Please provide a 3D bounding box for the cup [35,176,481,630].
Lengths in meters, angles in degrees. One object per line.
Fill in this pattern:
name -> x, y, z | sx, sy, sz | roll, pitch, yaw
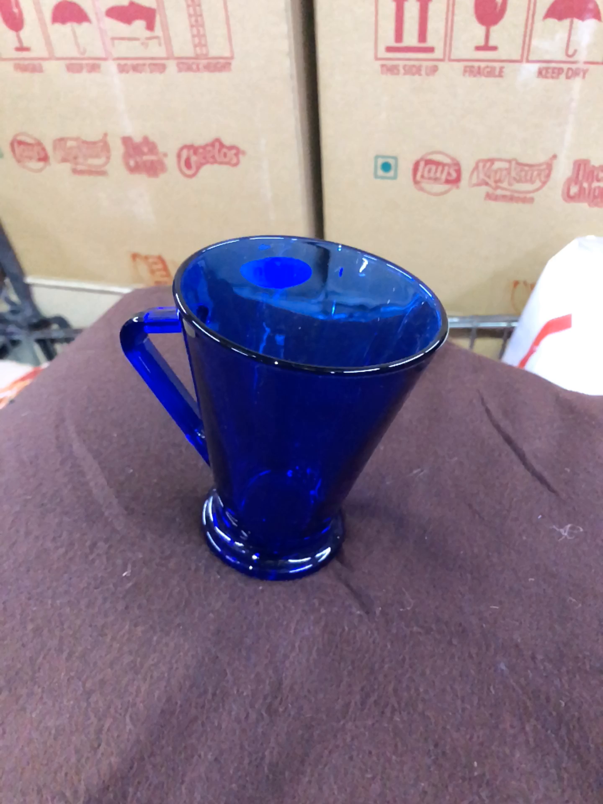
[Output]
cup -> -0.013, 0.000, 0.235 | 0.110, 0.109, 0.070 | 20, 46, 15
